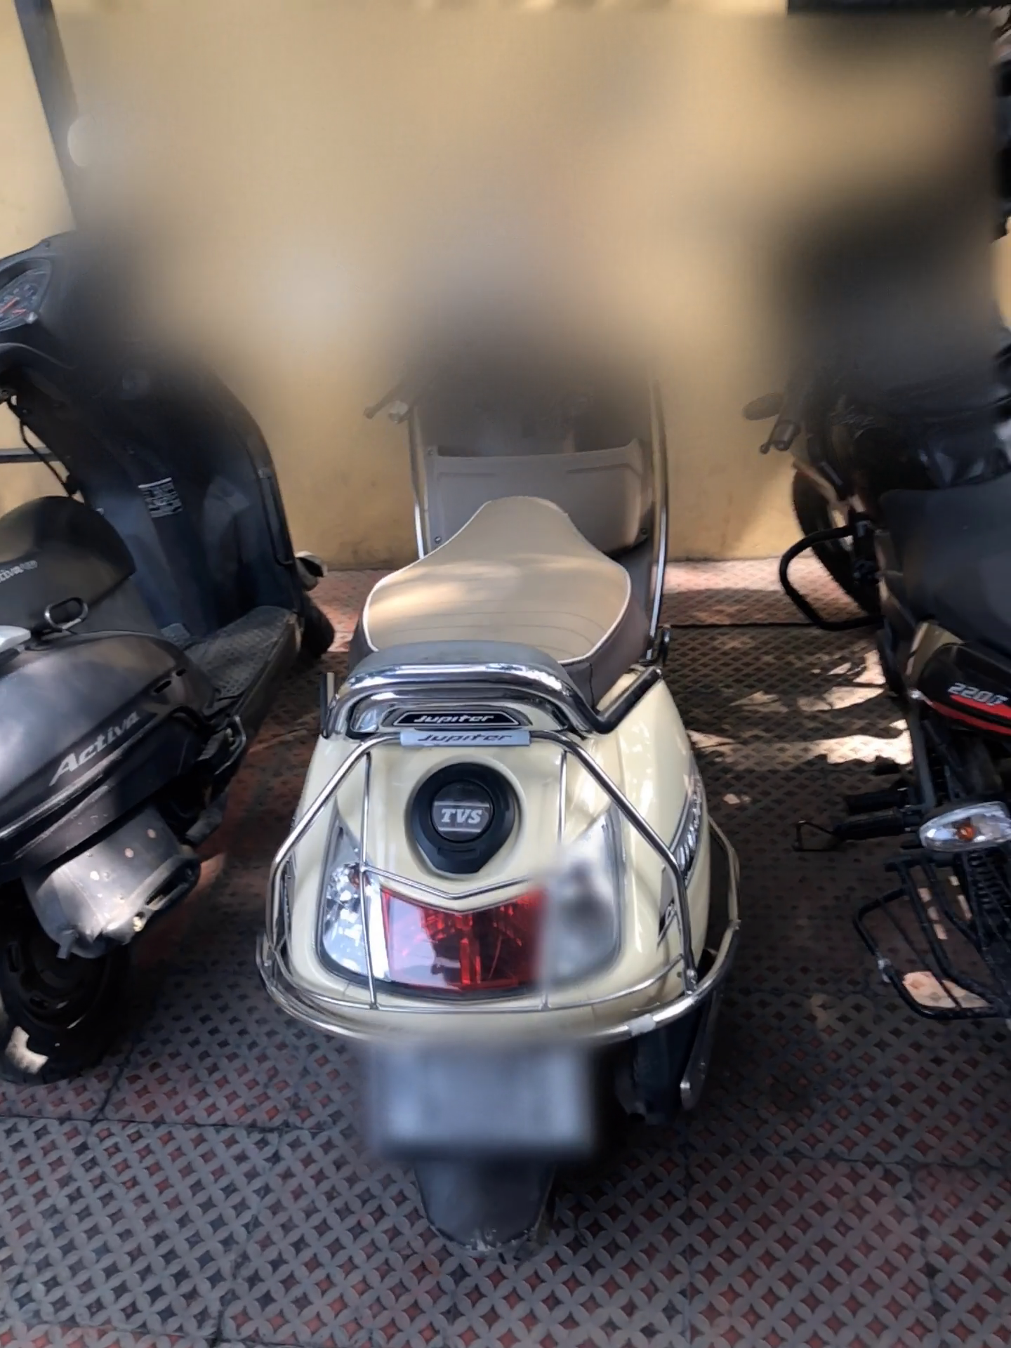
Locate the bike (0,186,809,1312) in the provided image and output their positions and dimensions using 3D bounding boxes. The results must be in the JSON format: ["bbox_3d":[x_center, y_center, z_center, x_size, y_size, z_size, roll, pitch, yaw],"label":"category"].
[{"bbox_3d":[-0.085,-0.095,1.767,0.644,0.999,1.634,-5,31,2],"label":"bike"}]
